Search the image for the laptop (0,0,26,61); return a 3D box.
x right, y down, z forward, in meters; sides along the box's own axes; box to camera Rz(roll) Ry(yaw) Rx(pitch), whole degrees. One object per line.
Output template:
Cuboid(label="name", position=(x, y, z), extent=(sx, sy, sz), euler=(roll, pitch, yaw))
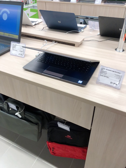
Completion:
Cuboid(label="laptop", position=(-0.515, -0.386, 0.912), extent=(0.348, 0.230, 0.378), euler=(17, 42, 20))

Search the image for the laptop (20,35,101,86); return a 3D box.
Cuboid(label="laptop", position=(-0.009, -0.143, 0.725), extent=(0.344, 0.099, 0.222), euler=(17, 42, 22))
